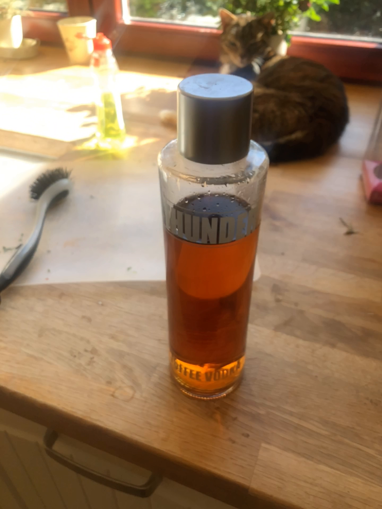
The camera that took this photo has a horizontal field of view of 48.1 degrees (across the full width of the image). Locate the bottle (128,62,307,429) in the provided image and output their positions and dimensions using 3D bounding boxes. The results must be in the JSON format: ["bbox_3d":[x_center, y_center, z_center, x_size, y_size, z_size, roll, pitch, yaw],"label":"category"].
[{"bbox_3d":[0.018,0.012,0.335,0.080,0.278,0.081,0,38,0],"label":"bottle"}]
